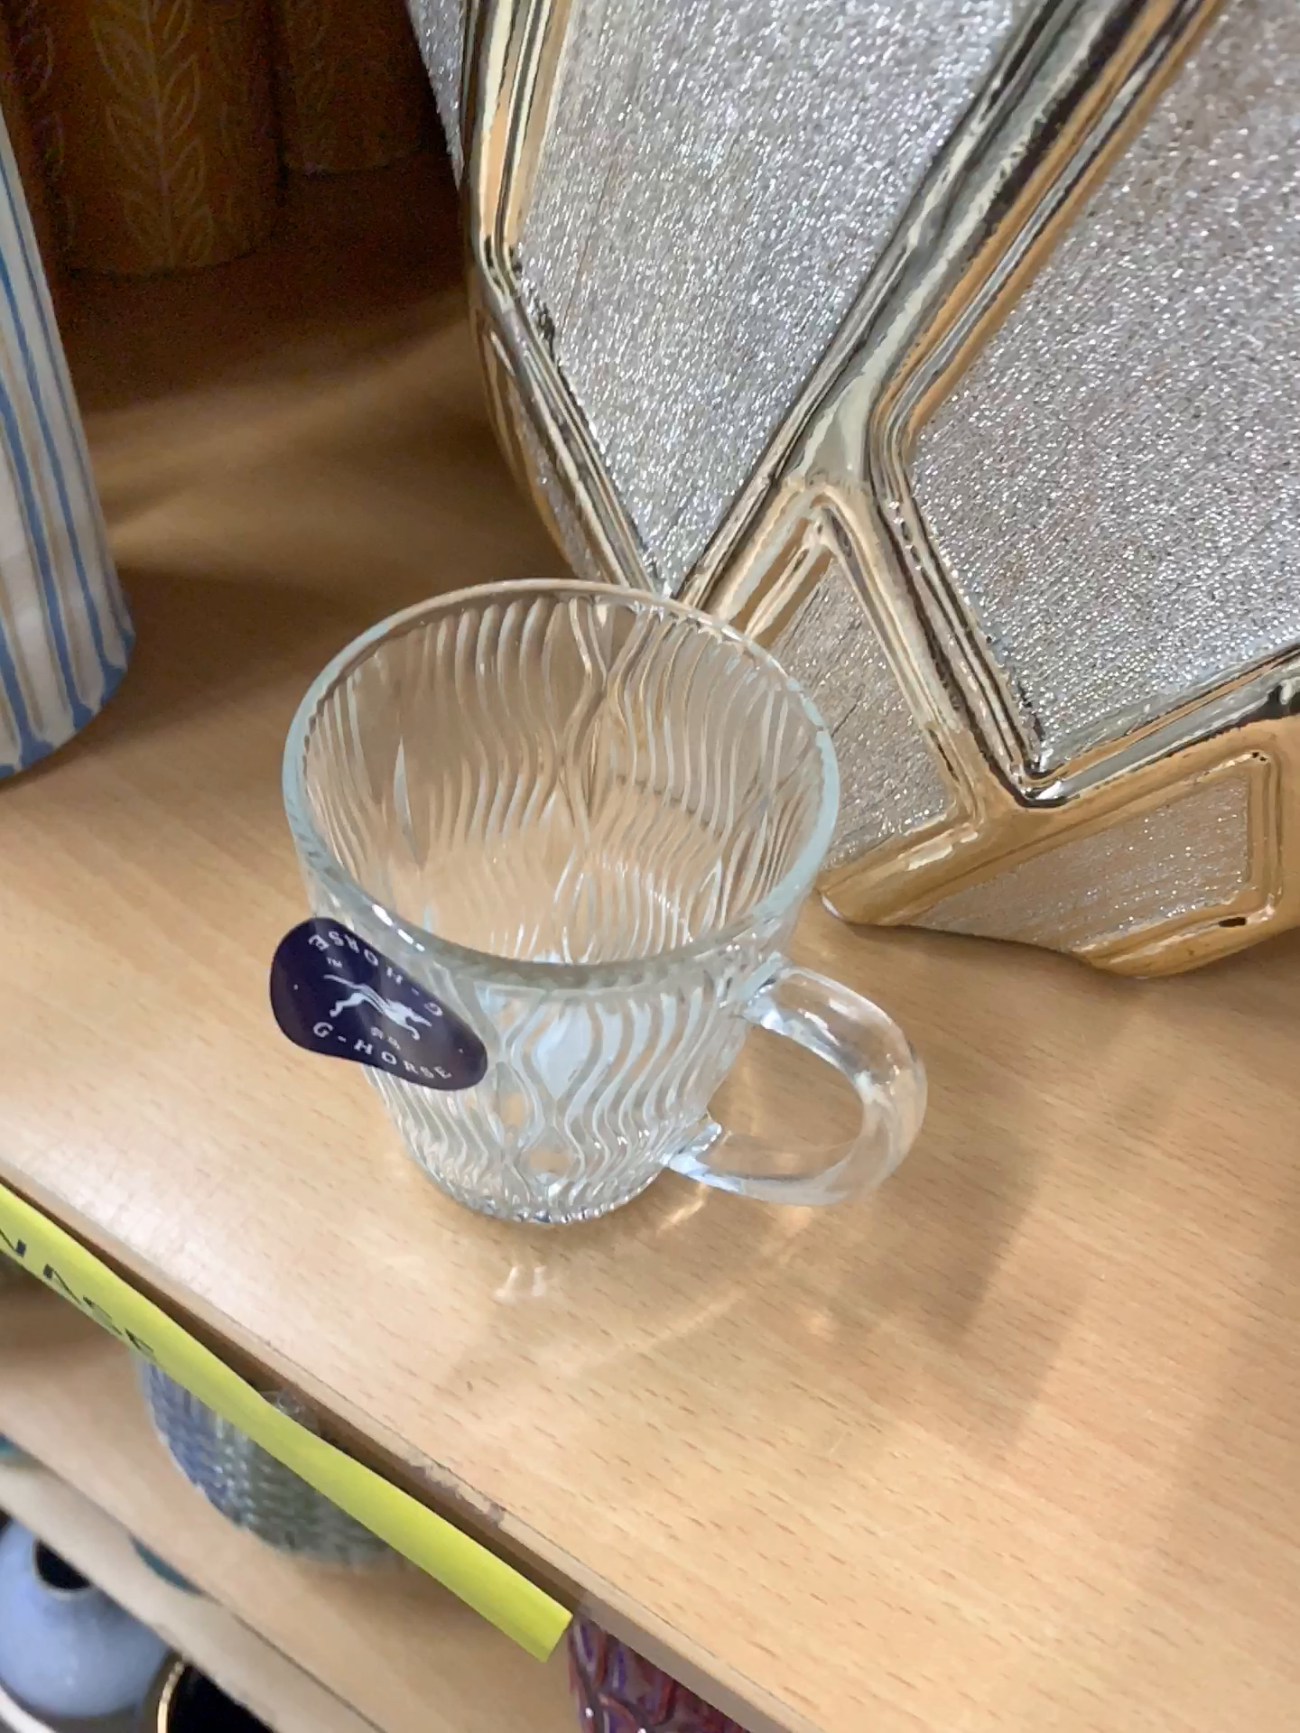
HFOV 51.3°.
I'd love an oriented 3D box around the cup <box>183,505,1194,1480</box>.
[{"bbox_3d":[0.004,0.014,0.187,0.100,0.070,0.070,28,51,16],"label":"cup"}]
